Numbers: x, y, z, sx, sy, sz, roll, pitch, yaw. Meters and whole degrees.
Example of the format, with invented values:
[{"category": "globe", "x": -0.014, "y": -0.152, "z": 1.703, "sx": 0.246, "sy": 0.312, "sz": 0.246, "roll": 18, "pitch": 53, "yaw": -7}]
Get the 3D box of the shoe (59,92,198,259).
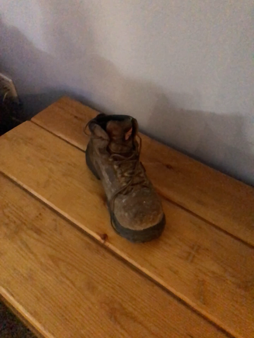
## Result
[{"category": "shoe", "x": -0.016, "y": -0.004, "z": 0.546, "sx": 0.130, "sy": 0.130, "sz": 0.291, "roll": -20, "pitch": 52, "yaw": -19}]
